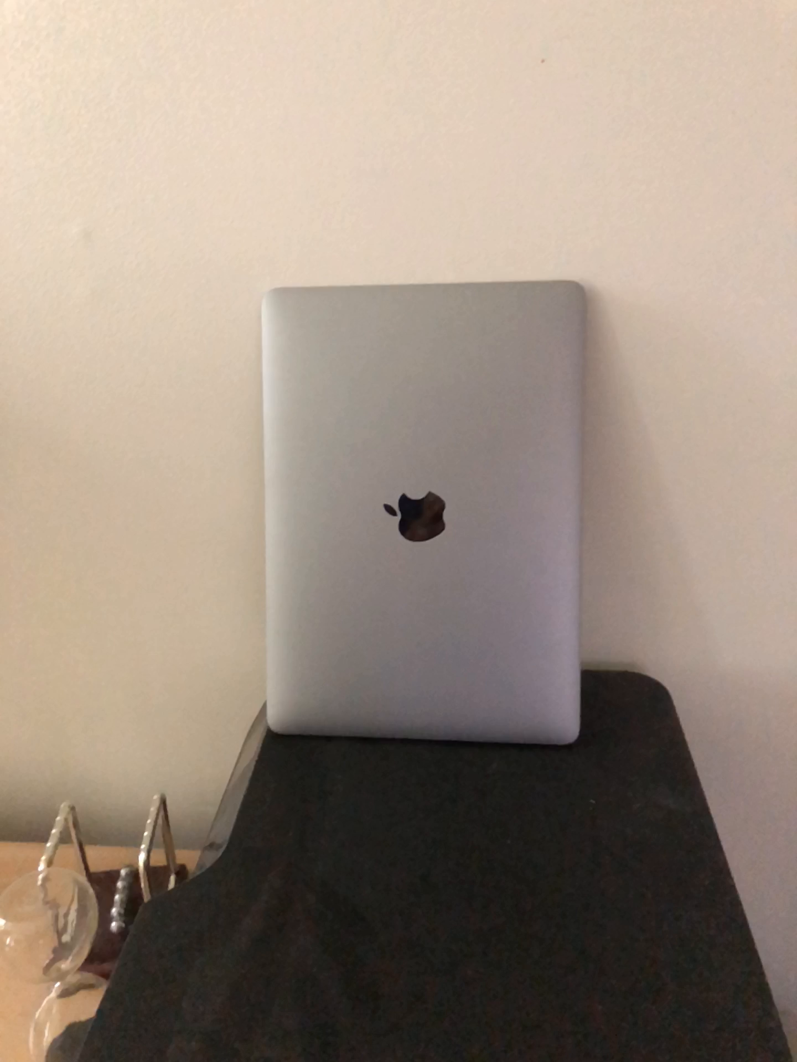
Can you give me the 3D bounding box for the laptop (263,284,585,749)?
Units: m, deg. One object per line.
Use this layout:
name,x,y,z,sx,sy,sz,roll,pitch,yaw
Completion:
laptop,0.013,-0.007,0.542,0.196,0.275,0.002,1,3,7
